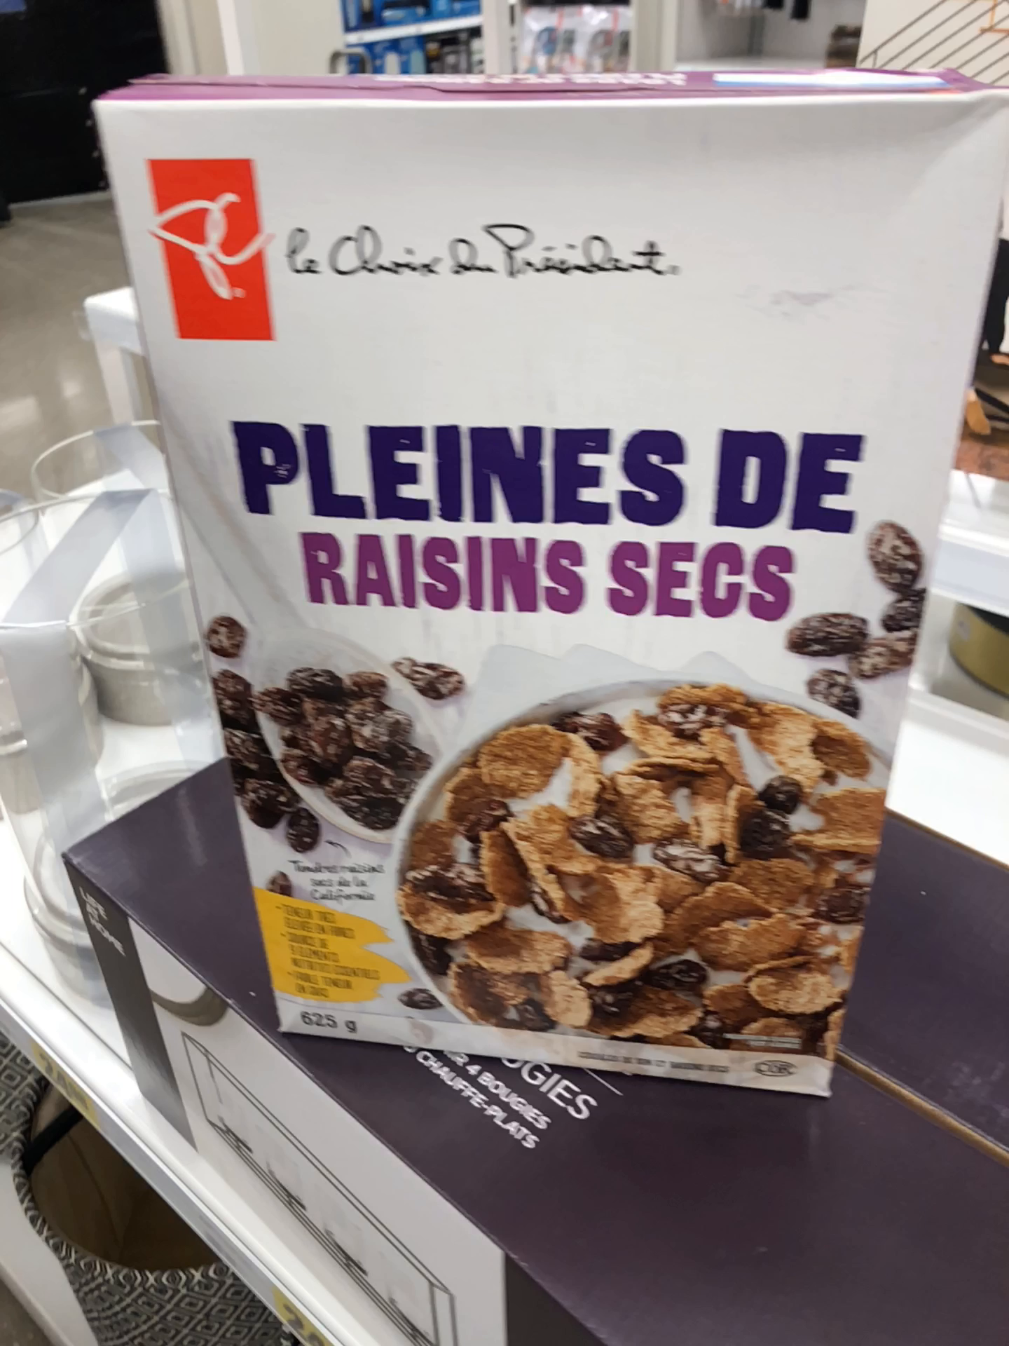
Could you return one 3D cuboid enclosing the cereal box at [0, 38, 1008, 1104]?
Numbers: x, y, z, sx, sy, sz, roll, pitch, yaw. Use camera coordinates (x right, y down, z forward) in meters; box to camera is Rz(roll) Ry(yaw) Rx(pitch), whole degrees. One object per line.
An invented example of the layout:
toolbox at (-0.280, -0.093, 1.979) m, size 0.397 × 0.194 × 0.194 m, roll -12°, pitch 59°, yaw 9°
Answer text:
cereal box at (0.002, -0.007, 0.324) m, size 0.200 × 0.299 × 0.060 m, roll 4°, pitch 34°, yaw 9°
